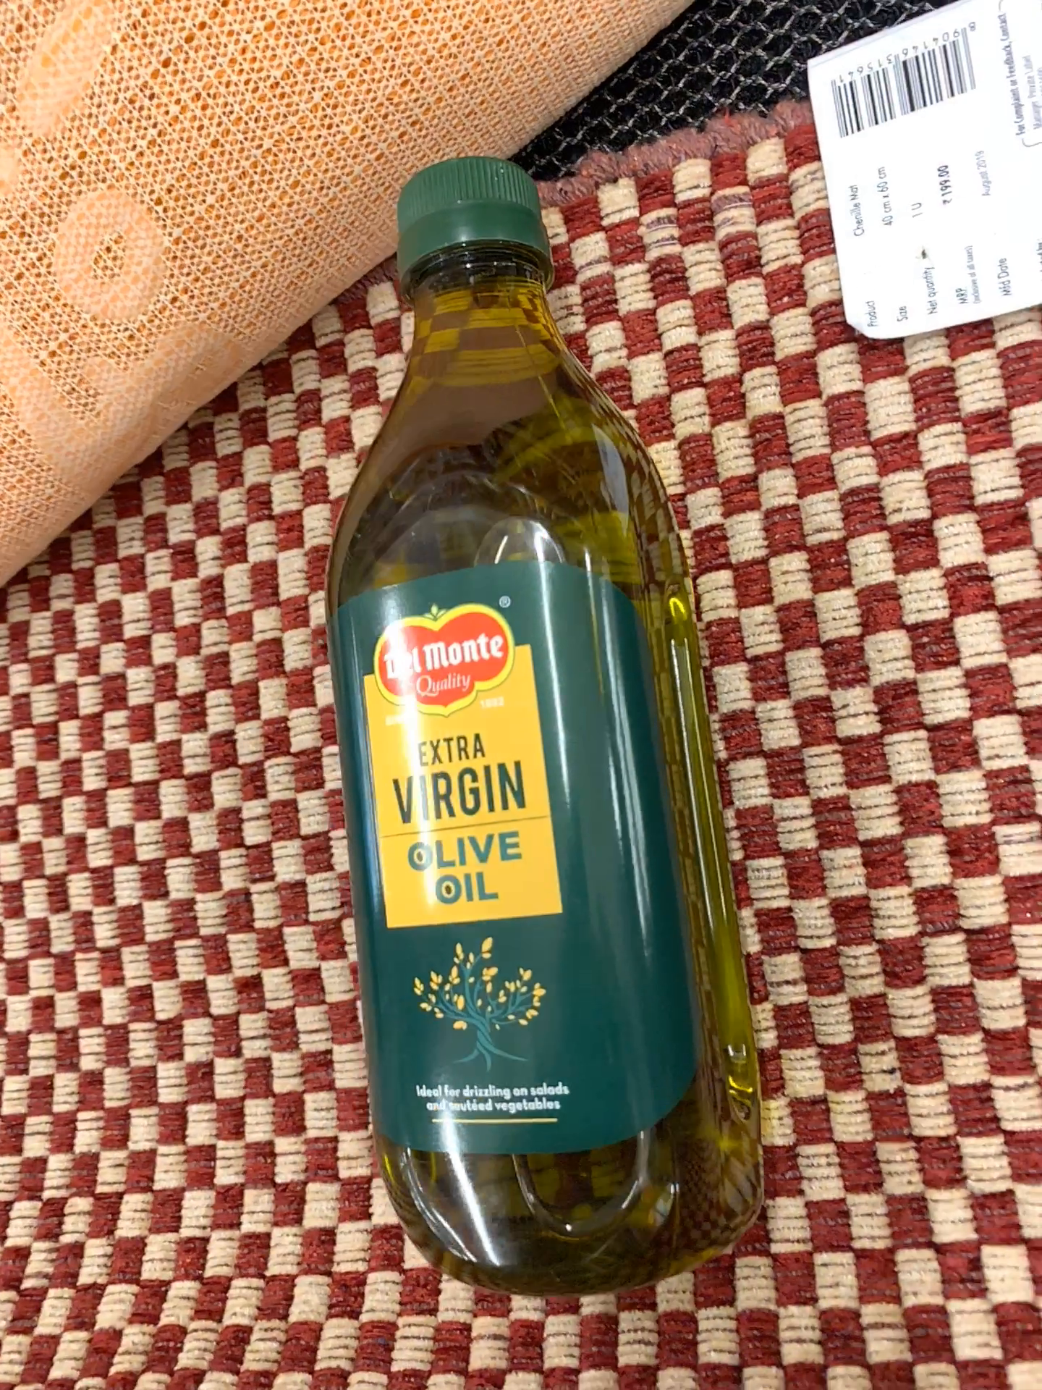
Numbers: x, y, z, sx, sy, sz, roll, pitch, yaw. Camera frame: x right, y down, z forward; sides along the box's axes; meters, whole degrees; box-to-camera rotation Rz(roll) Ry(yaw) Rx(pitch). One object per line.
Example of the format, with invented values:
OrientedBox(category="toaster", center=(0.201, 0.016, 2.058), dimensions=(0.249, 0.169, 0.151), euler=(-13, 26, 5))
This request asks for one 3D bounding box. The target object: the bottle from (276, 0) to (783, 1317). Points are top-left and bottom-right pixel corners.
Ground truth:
OrientedBox(category="bottle", center=(0.005, -0.008, 0.248), dimensions=(0.080, 0.080, 0.250), euler=(-6, 83, 12))
